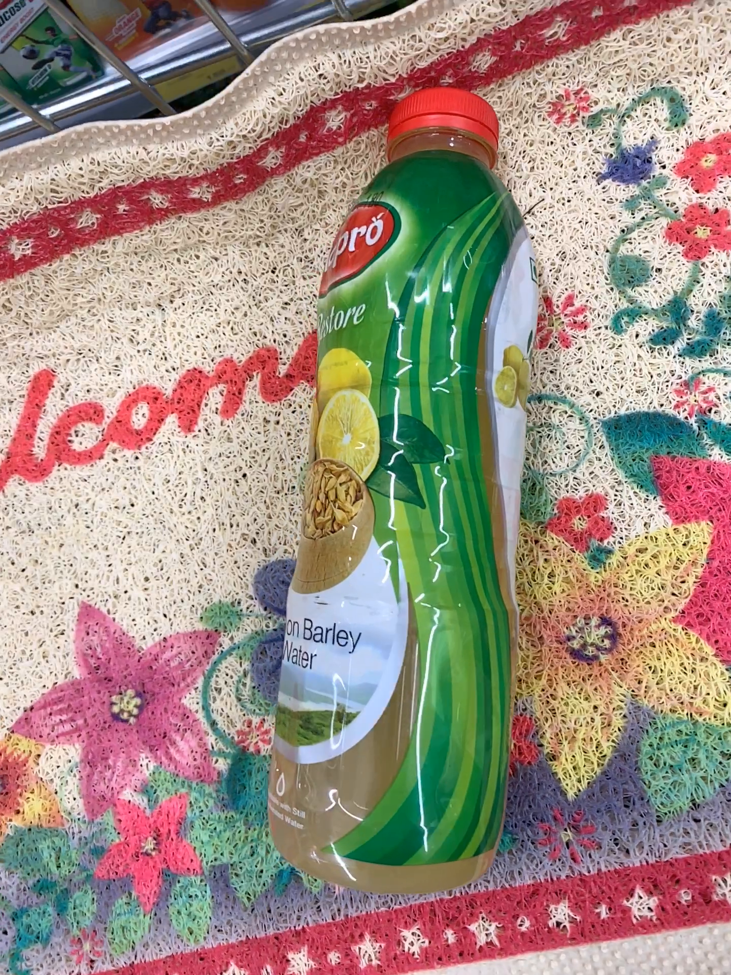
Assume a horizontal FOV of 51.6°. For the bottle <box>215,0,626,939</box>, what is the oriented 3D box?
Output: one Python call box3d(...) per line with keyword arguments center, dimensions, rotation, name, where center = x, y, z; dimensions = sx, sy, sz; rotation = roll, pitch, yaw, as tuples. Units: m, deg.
box3d(center=(0.024, -0.016, 0.259), dimensions=(0.080, 0.090, 0.270), rotation=(-3, 79, 47), name="bottle")
